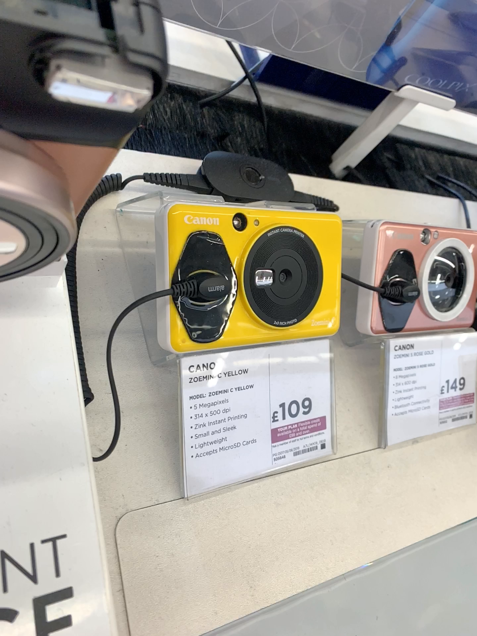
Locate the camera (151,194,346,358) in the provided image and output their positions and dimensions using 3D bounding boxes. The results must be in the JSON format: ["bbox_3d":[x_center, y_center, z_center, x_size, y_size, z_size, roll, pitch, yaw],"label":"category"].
[{"bbox_3d":[0.010,-0.025,0.283,0.121,0.020,0.080,-5,98,-34],"label":"camera"}]
